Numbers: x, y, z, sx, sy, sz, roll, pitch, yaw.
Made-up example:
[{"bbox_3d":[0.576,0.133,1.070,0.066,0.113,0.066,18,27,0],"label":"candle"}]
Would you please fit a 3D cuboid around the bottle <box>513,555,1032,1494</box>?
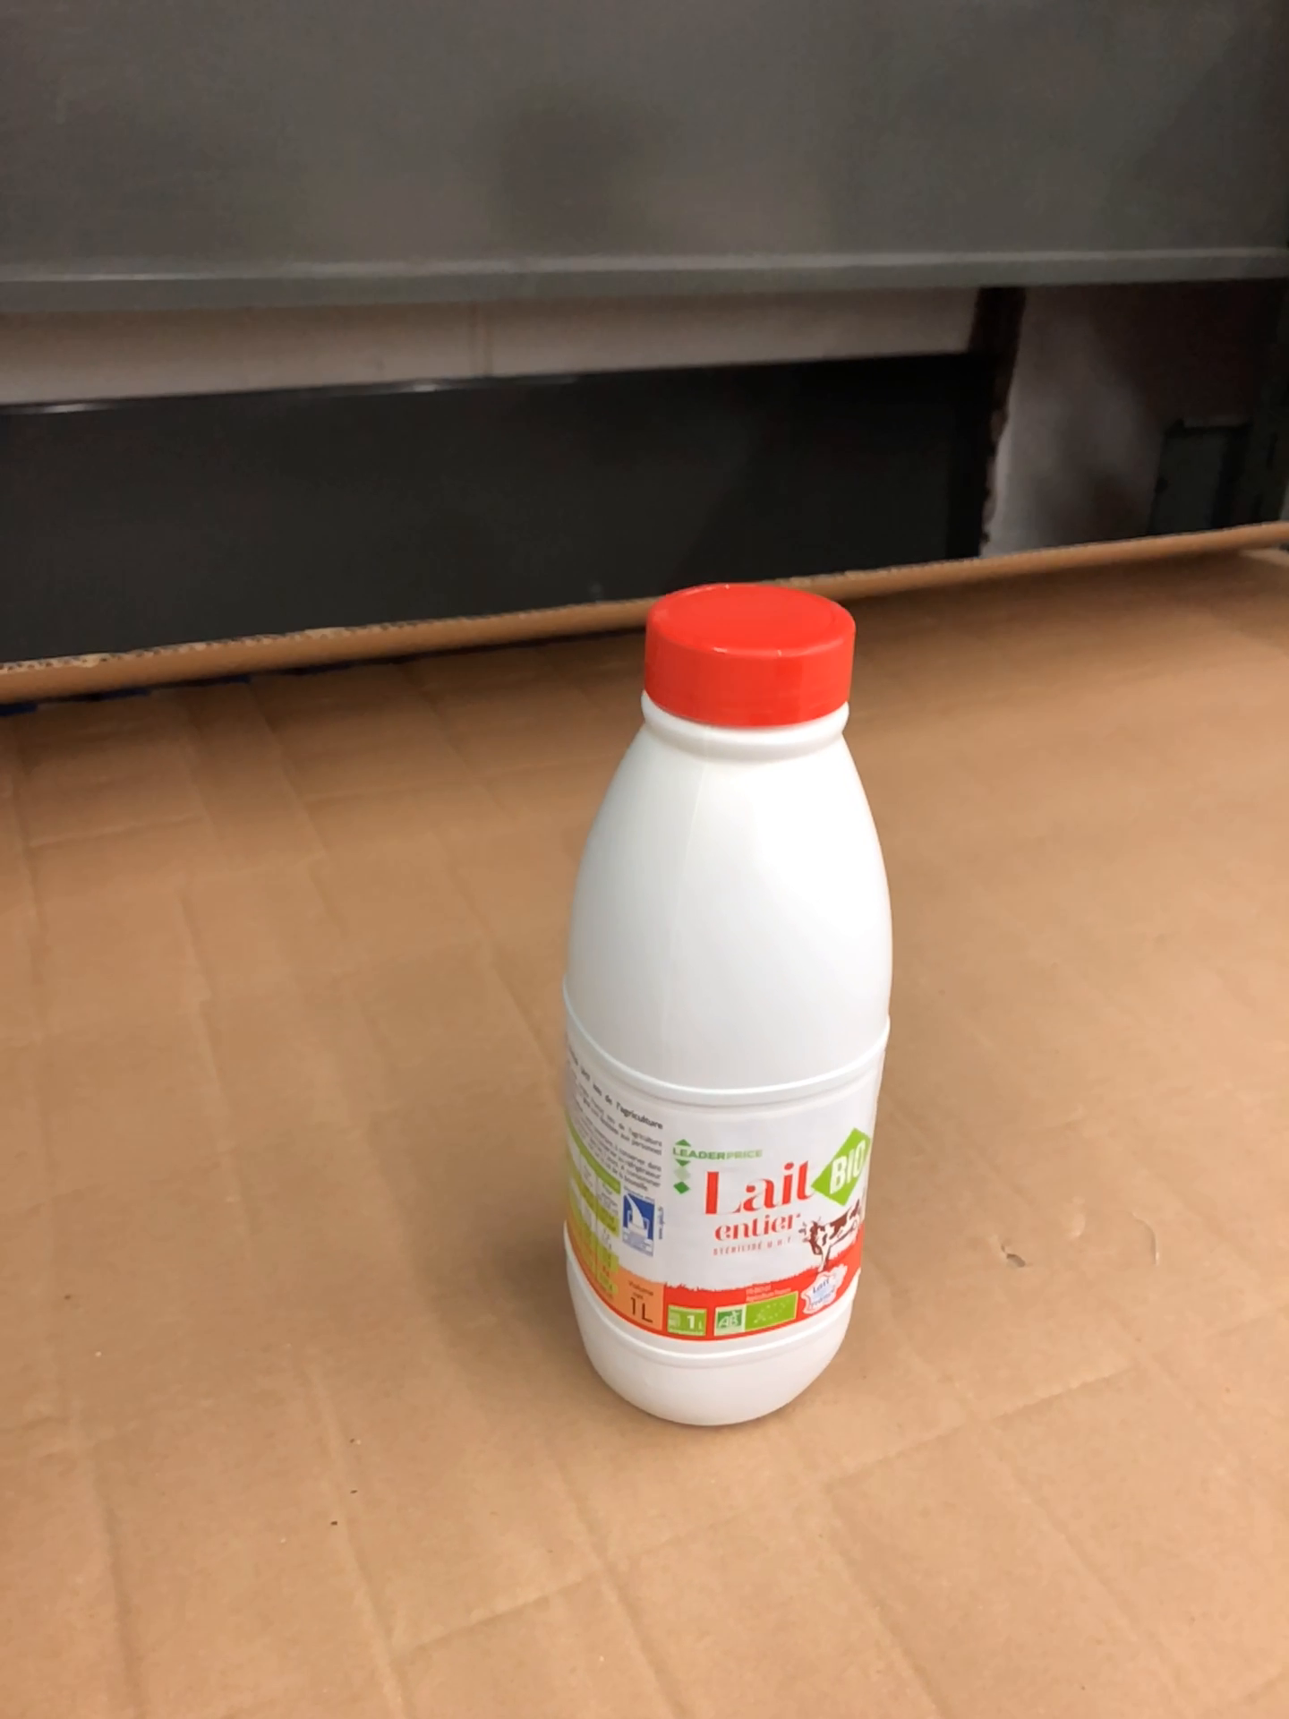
[{"bbox_3d":[0.021,0.047,0.381,0.090,0.229,0.080,-11,33,-23],"label":"bottle"}]
